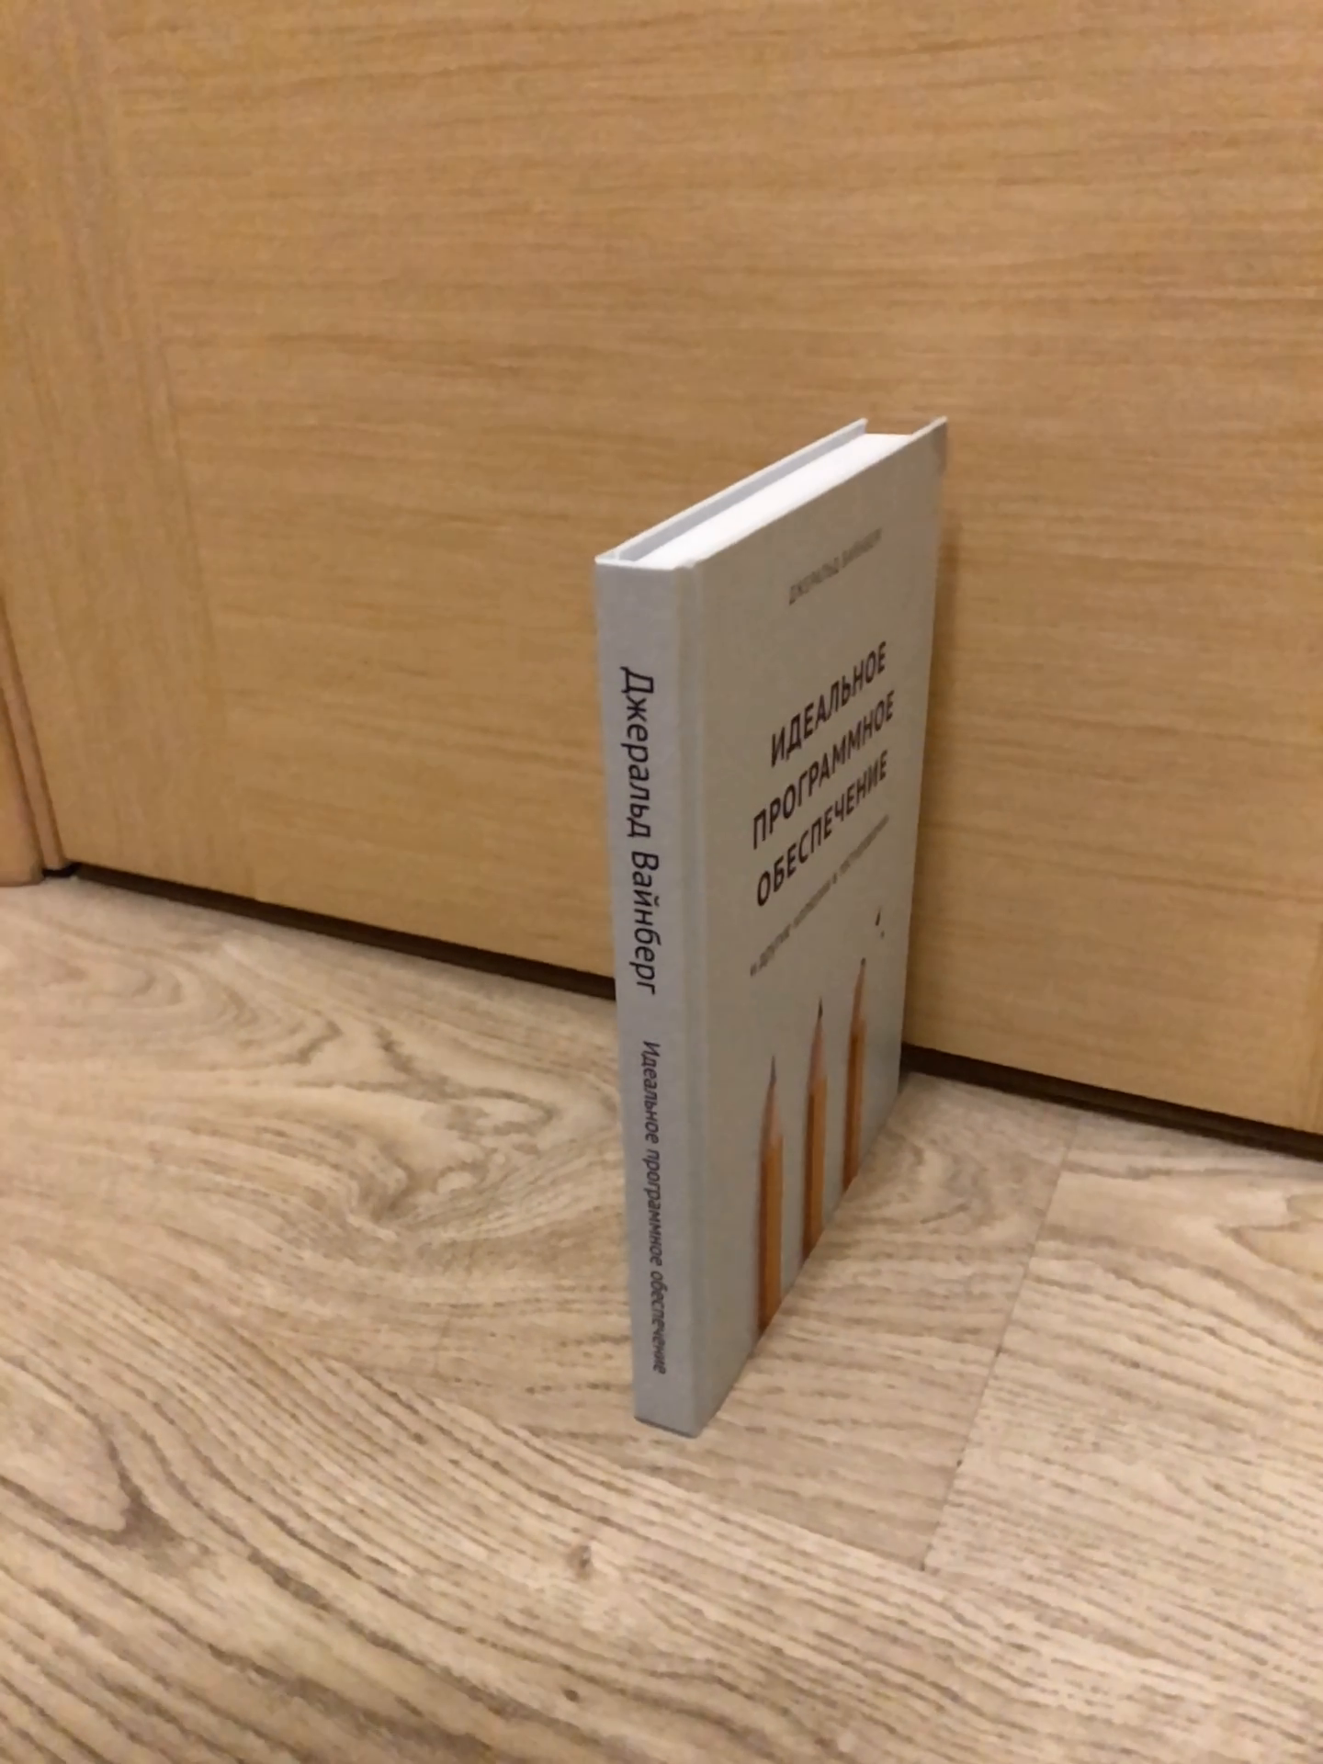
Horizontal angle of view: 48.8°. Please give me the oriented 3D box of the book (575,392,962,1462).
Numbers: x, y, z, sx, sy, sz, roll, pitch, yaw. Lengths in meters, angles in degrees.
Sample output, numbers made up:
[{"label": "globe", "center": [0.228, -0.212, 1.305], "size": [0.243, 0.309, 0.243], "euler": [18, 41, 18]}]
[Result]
[{"label": "book", "center": [0.032, 0.002, 0.355], "size": [0.023, 0.209, 0.163], "euler": [11, 29, 23]}]
